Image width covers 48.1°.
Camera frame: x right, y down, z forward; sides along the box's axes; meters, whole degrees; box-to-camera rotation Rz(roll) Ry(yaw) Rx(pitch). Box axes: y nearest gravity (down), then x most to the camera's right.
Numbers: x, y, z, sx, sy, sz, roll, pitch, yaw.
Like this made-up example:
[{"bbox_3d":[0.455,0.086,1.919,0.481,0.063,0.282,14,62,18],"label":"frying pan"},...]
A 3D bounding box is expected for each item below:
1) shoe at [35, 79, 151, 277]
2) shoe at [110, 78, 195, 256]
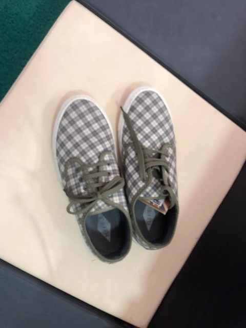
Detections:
[{"bbox_3d":[-0.044,0.020,0.446,0.100,0.100,0.270,-15,96,-5],"label":"shoe"},{"bbox_3d":[0.044,0.003,0.465,0.100,0.100,0.260,-6,94,-5],"label":"shoe"}]
